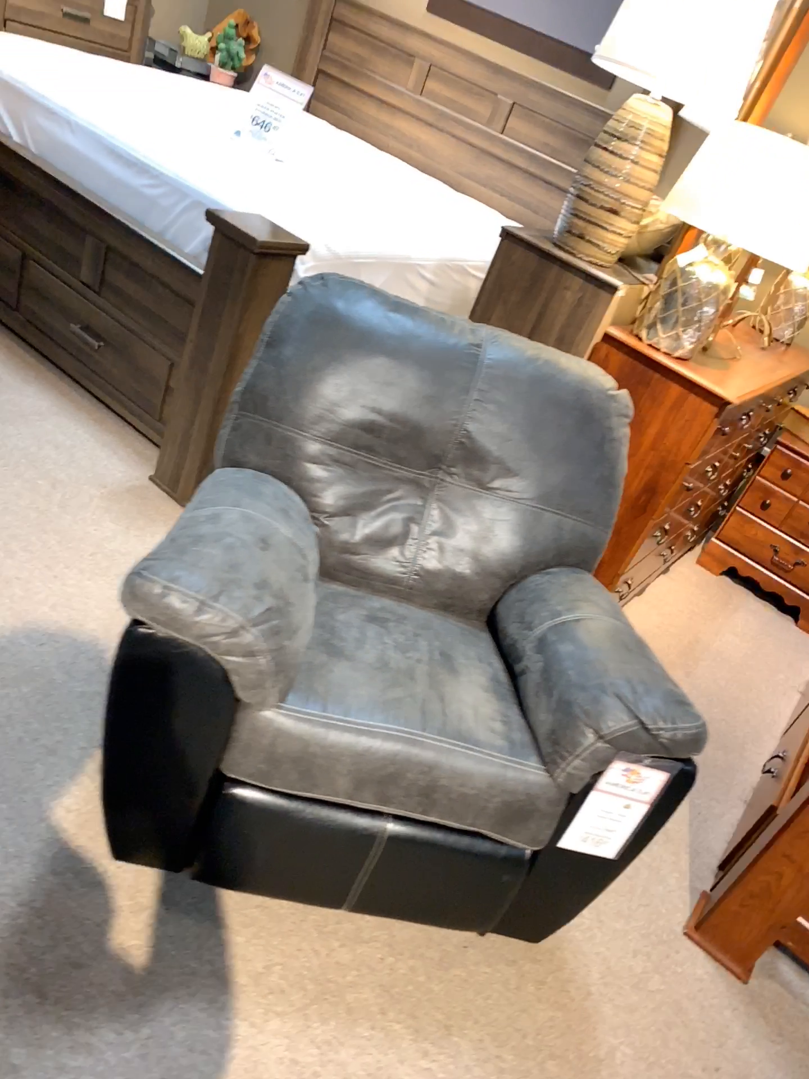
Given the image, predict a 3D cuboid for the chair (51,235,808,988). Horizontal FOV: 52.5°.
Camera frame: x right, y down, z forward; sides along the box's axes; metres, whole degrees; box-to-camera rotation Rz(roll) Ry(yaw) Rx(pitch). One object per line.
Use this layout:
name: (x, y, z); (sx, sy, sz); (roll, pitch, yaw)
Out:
chair: (0.015, 0.120, 1.643); (0.989, 0.922, 0.908); (16, 30, -12)
